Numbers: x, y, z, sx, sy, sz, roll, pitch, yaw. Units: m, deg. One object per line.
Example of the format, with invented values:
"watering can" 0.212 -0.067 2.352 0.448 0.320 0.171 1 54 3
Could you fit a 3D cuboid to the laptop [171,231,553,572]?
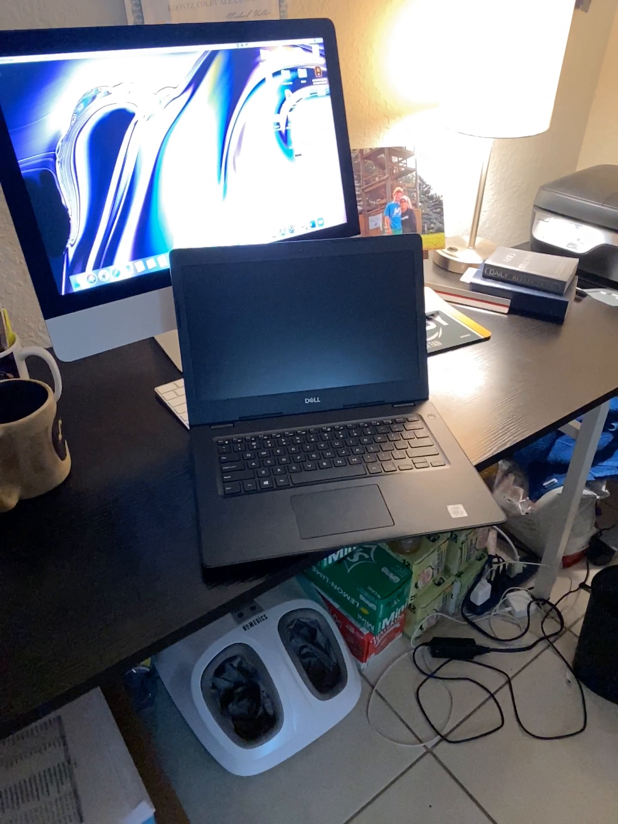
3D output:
"laptop" 0.025 -0.041 0.750 0.336 0.206 0.345 -7 36 -10
